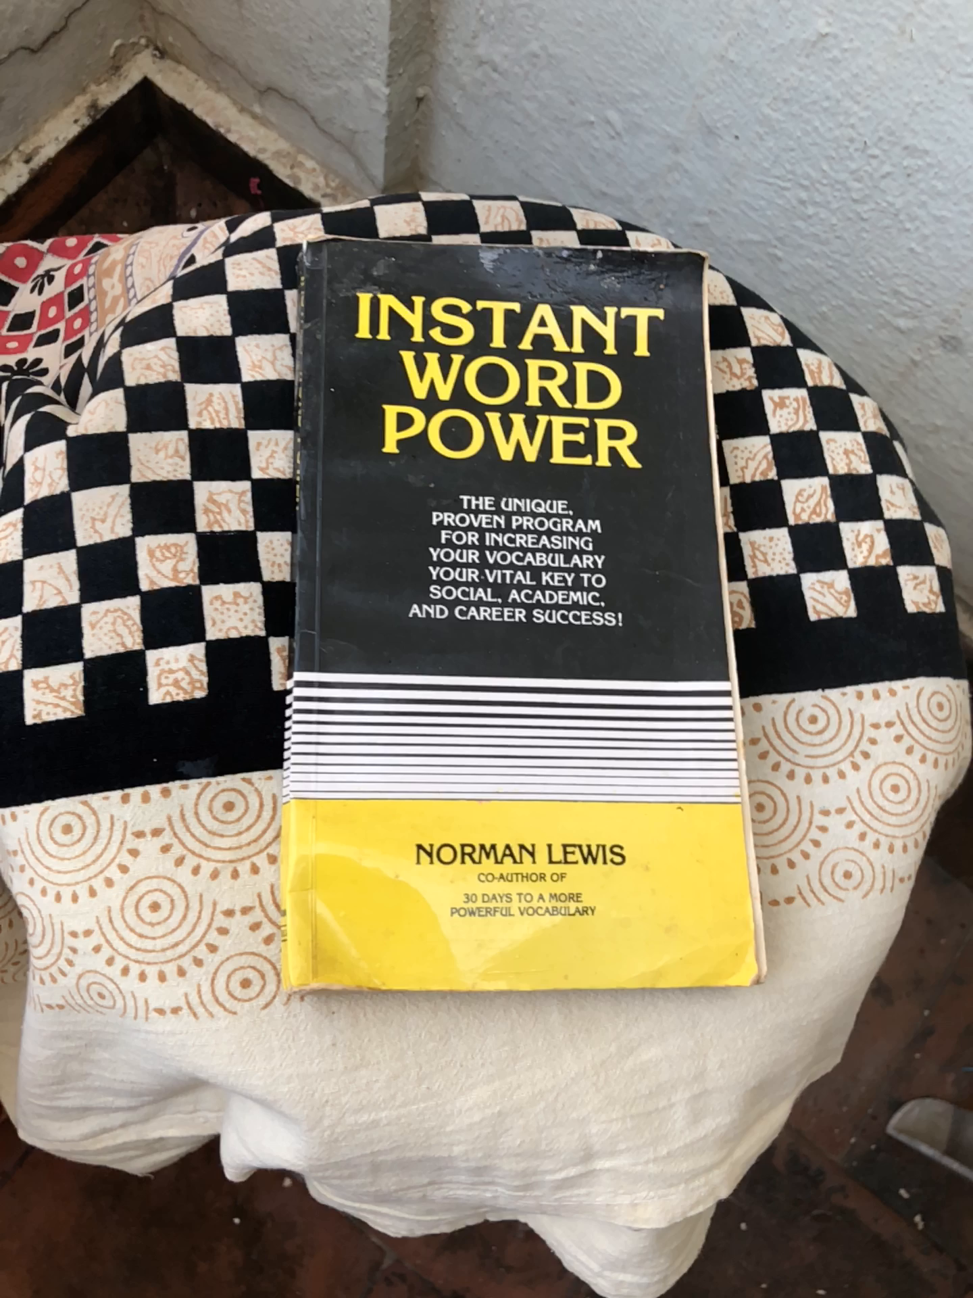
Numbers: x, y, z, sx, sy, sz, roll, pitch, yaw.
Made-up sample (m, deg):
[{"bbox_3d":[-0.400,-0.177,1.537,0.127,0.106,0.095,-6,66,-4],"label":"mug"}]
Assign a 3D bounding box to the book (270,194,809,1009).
[{"bbox_3d":[0.013,-0.029,0.394,0.160,0.040,0.300,2,67,-7],"label":"book"}]
